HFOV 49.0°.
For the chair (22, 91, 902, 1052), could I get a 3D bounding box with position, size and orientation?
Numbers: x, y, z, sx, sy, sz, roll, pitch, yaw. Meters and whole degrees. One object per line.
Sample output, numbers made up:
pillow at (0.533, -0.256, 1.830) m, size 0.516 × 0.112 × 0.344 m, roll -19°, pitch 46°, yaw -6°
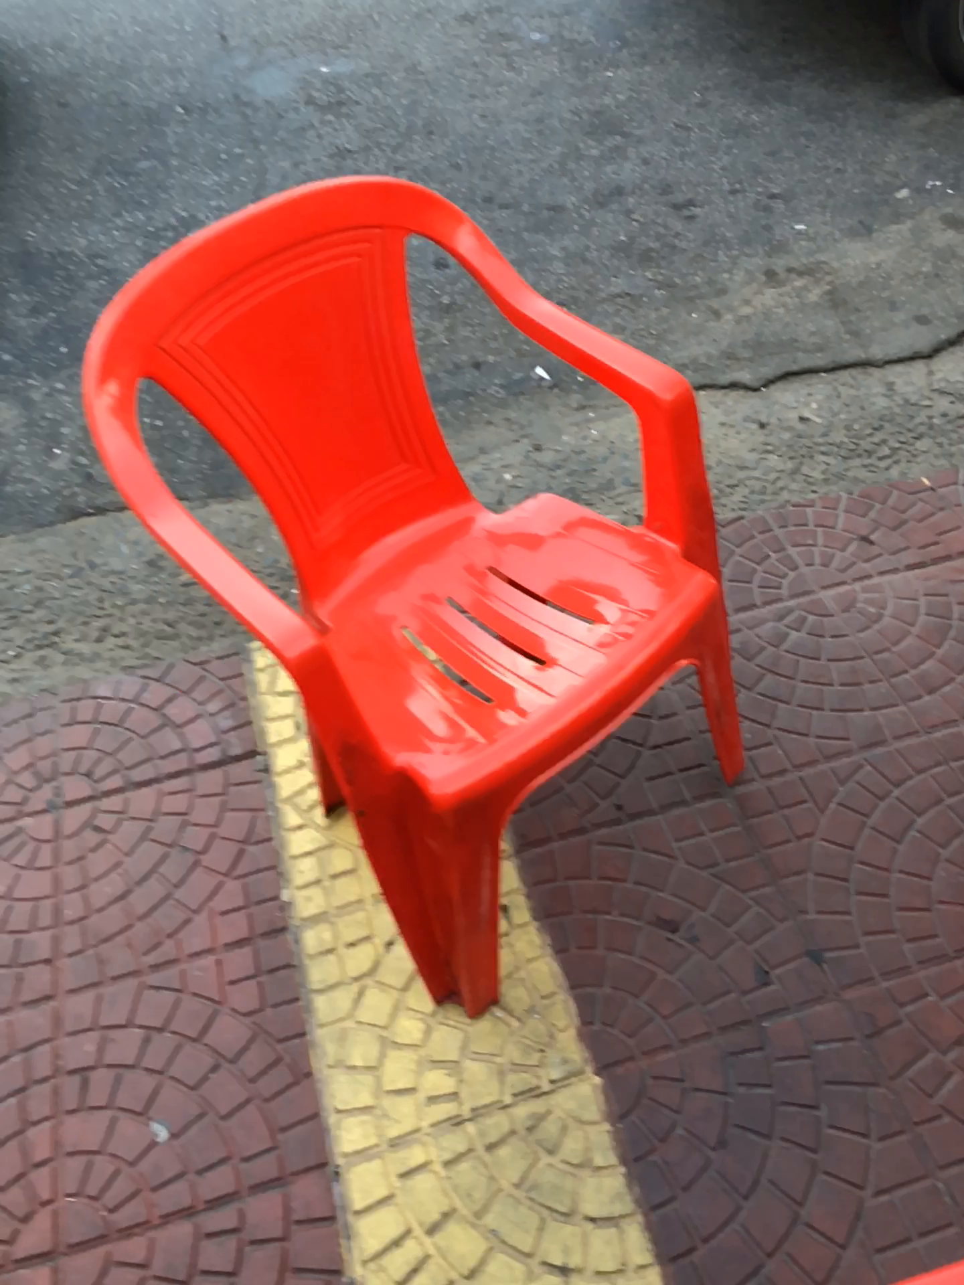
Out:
chair at (-0.007, -0.070, 1.235) m, size 0.572 × 0.795 × 0.542 m, roll -35°, pitch 55°, yaw -25°
